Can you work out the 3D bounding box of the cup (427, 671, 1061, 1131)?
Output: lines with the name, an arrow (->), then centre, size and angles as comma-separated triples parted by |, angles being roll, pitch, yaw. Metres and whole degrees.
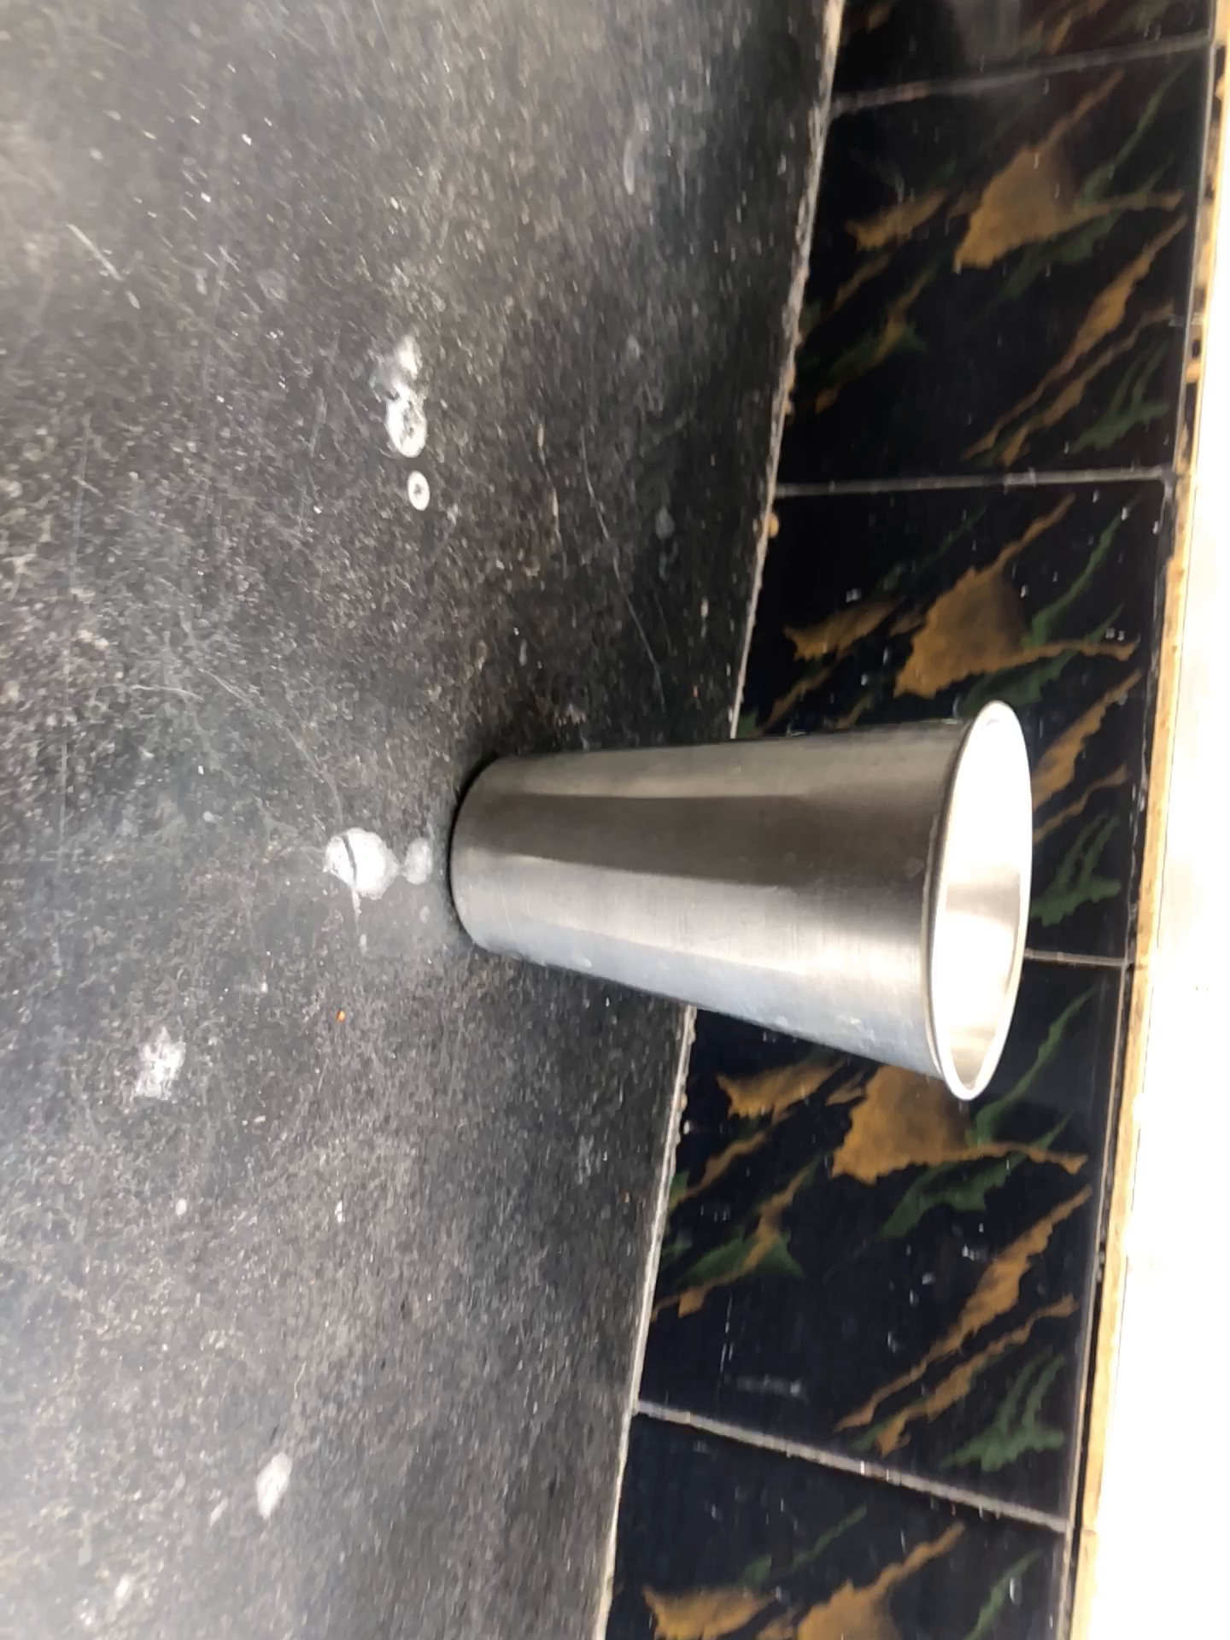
cup -> 0.029, 0.009, 0.302 | 0.070, 0.119, 0.080 | -15, 107, -63
